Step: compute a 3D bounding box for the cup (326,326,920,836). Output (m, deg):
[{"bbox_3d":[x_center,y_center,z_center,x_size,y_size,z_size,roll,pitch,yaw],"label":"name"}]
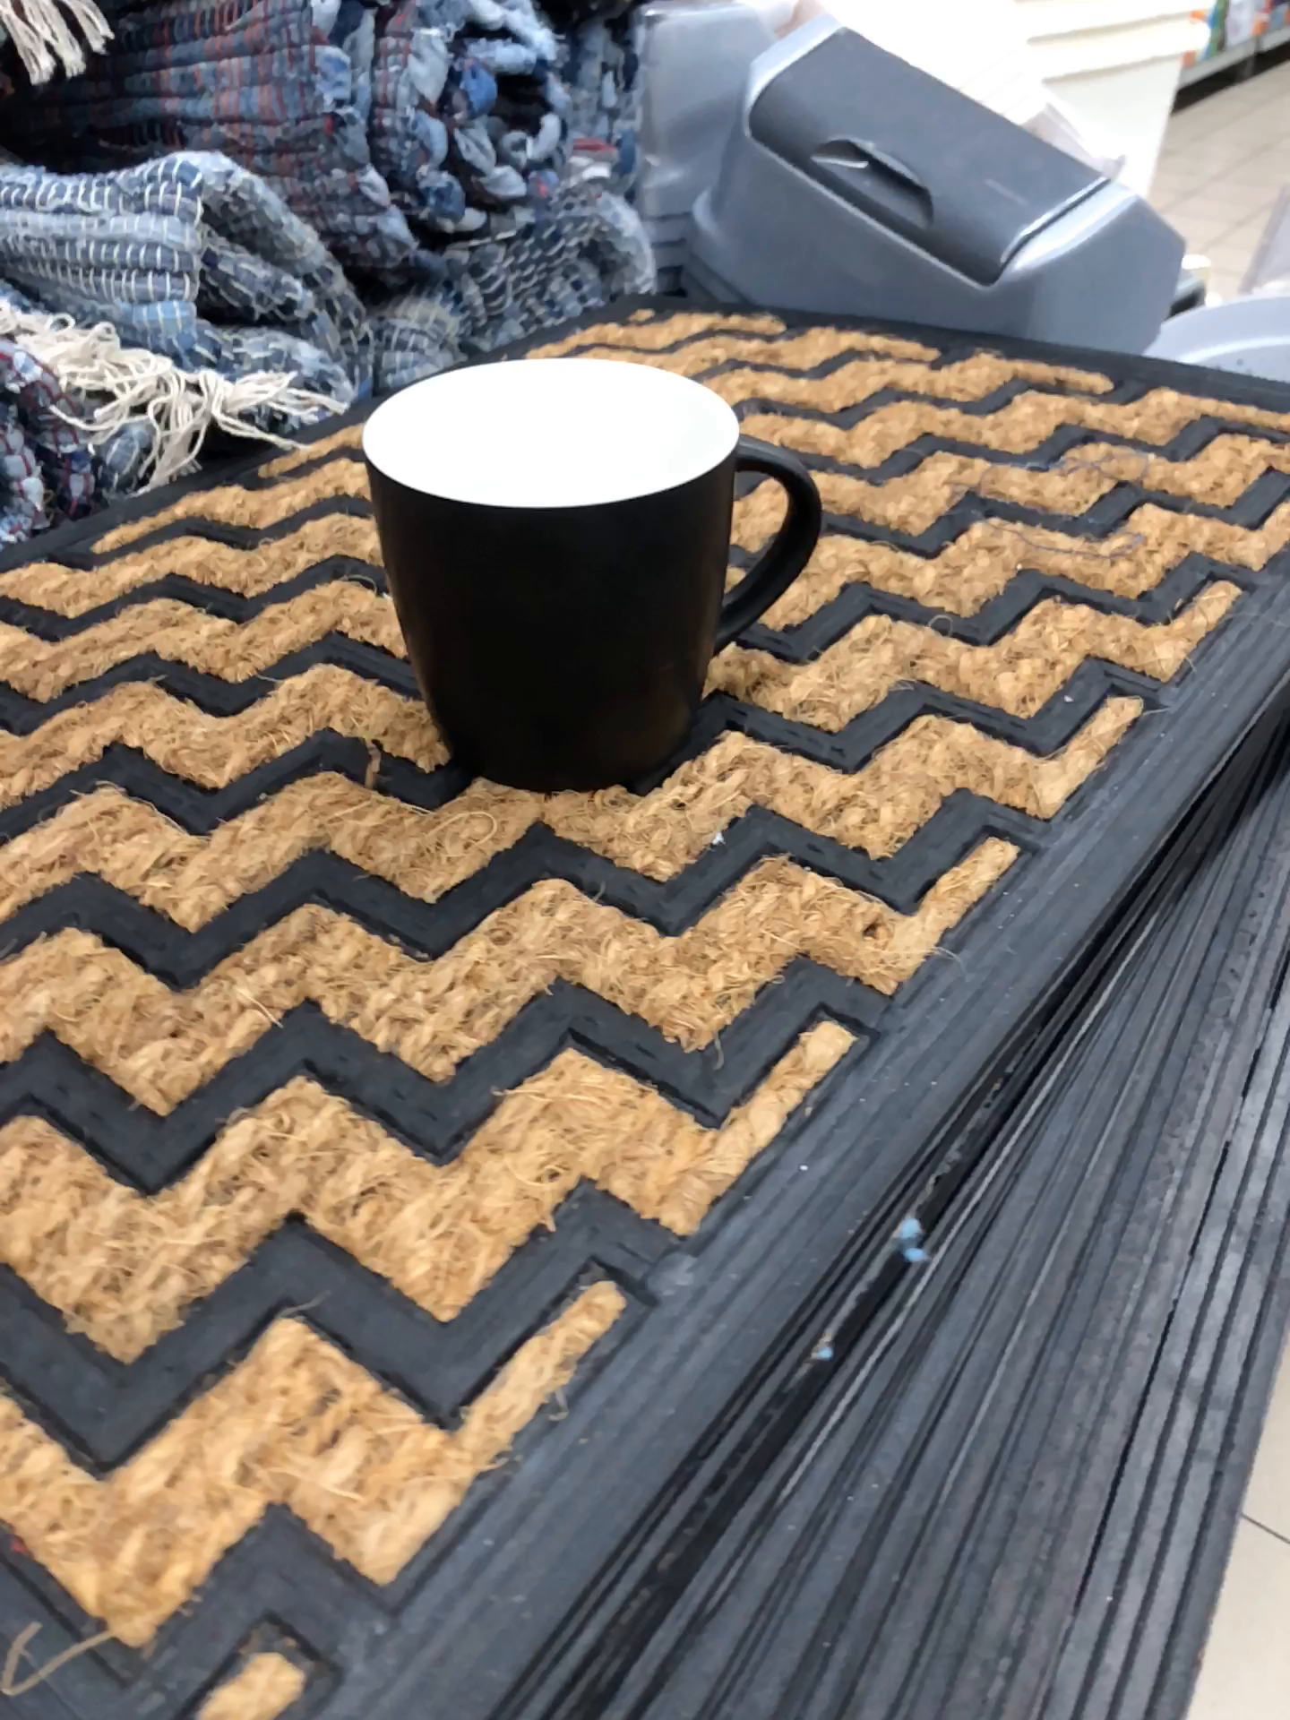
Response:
[{"bbox_3d":[-0.009,-0.078,0.375,0.123,0.081,0.090,-14,41,-16],"label":"cup"}]
